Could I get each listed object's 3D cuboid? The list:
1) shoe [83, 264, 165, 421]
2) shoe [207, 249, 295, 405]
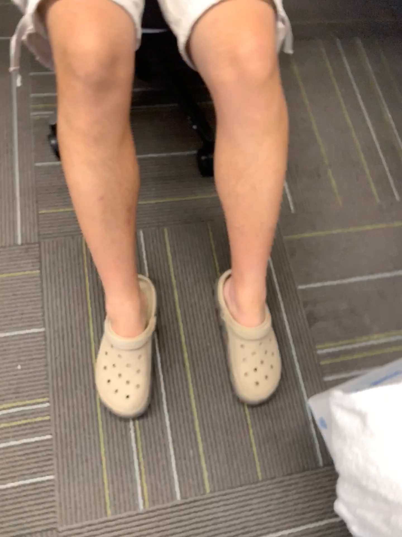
[{"bbox_3d":[-0.160,0.158,0.913,0.134,0.080,0.321,5,69,-5],"label":"shoe"},{"bbox_3d":[0.105,0.128,0.944,0.140,0.080,0.330,-3,70,-8],"label":"shoe"}]
